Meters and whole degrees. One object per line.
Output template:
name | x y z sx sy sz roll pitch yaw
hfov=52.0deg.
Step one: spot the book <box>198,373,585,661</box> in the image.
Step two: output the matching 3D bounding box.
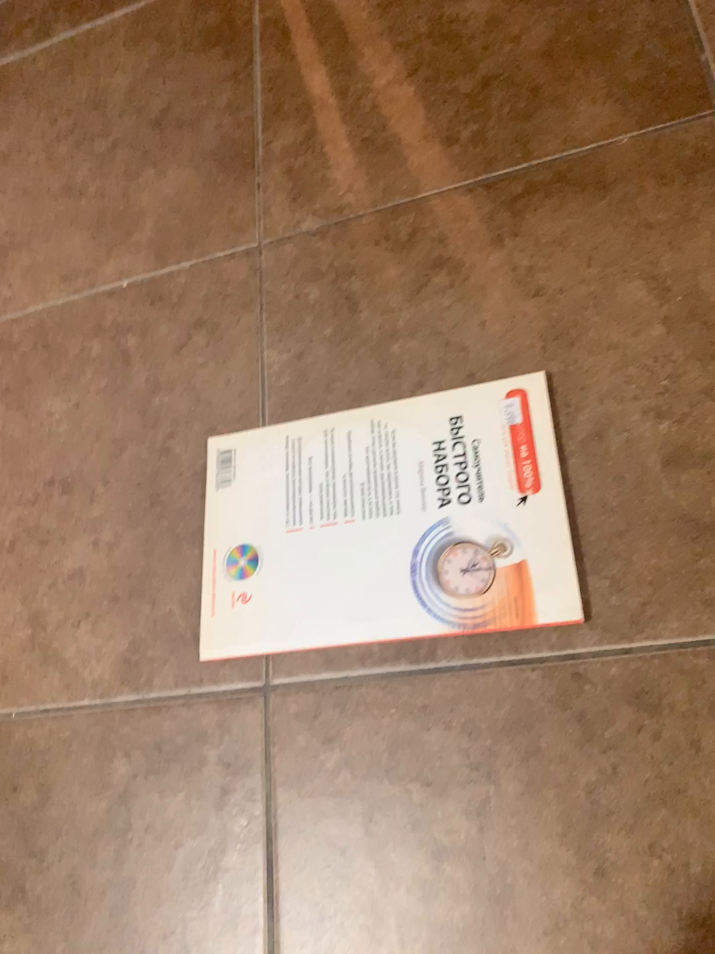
book | 0.007 0.025 0.409 0.210 0.009 0.134 -10 68 17
